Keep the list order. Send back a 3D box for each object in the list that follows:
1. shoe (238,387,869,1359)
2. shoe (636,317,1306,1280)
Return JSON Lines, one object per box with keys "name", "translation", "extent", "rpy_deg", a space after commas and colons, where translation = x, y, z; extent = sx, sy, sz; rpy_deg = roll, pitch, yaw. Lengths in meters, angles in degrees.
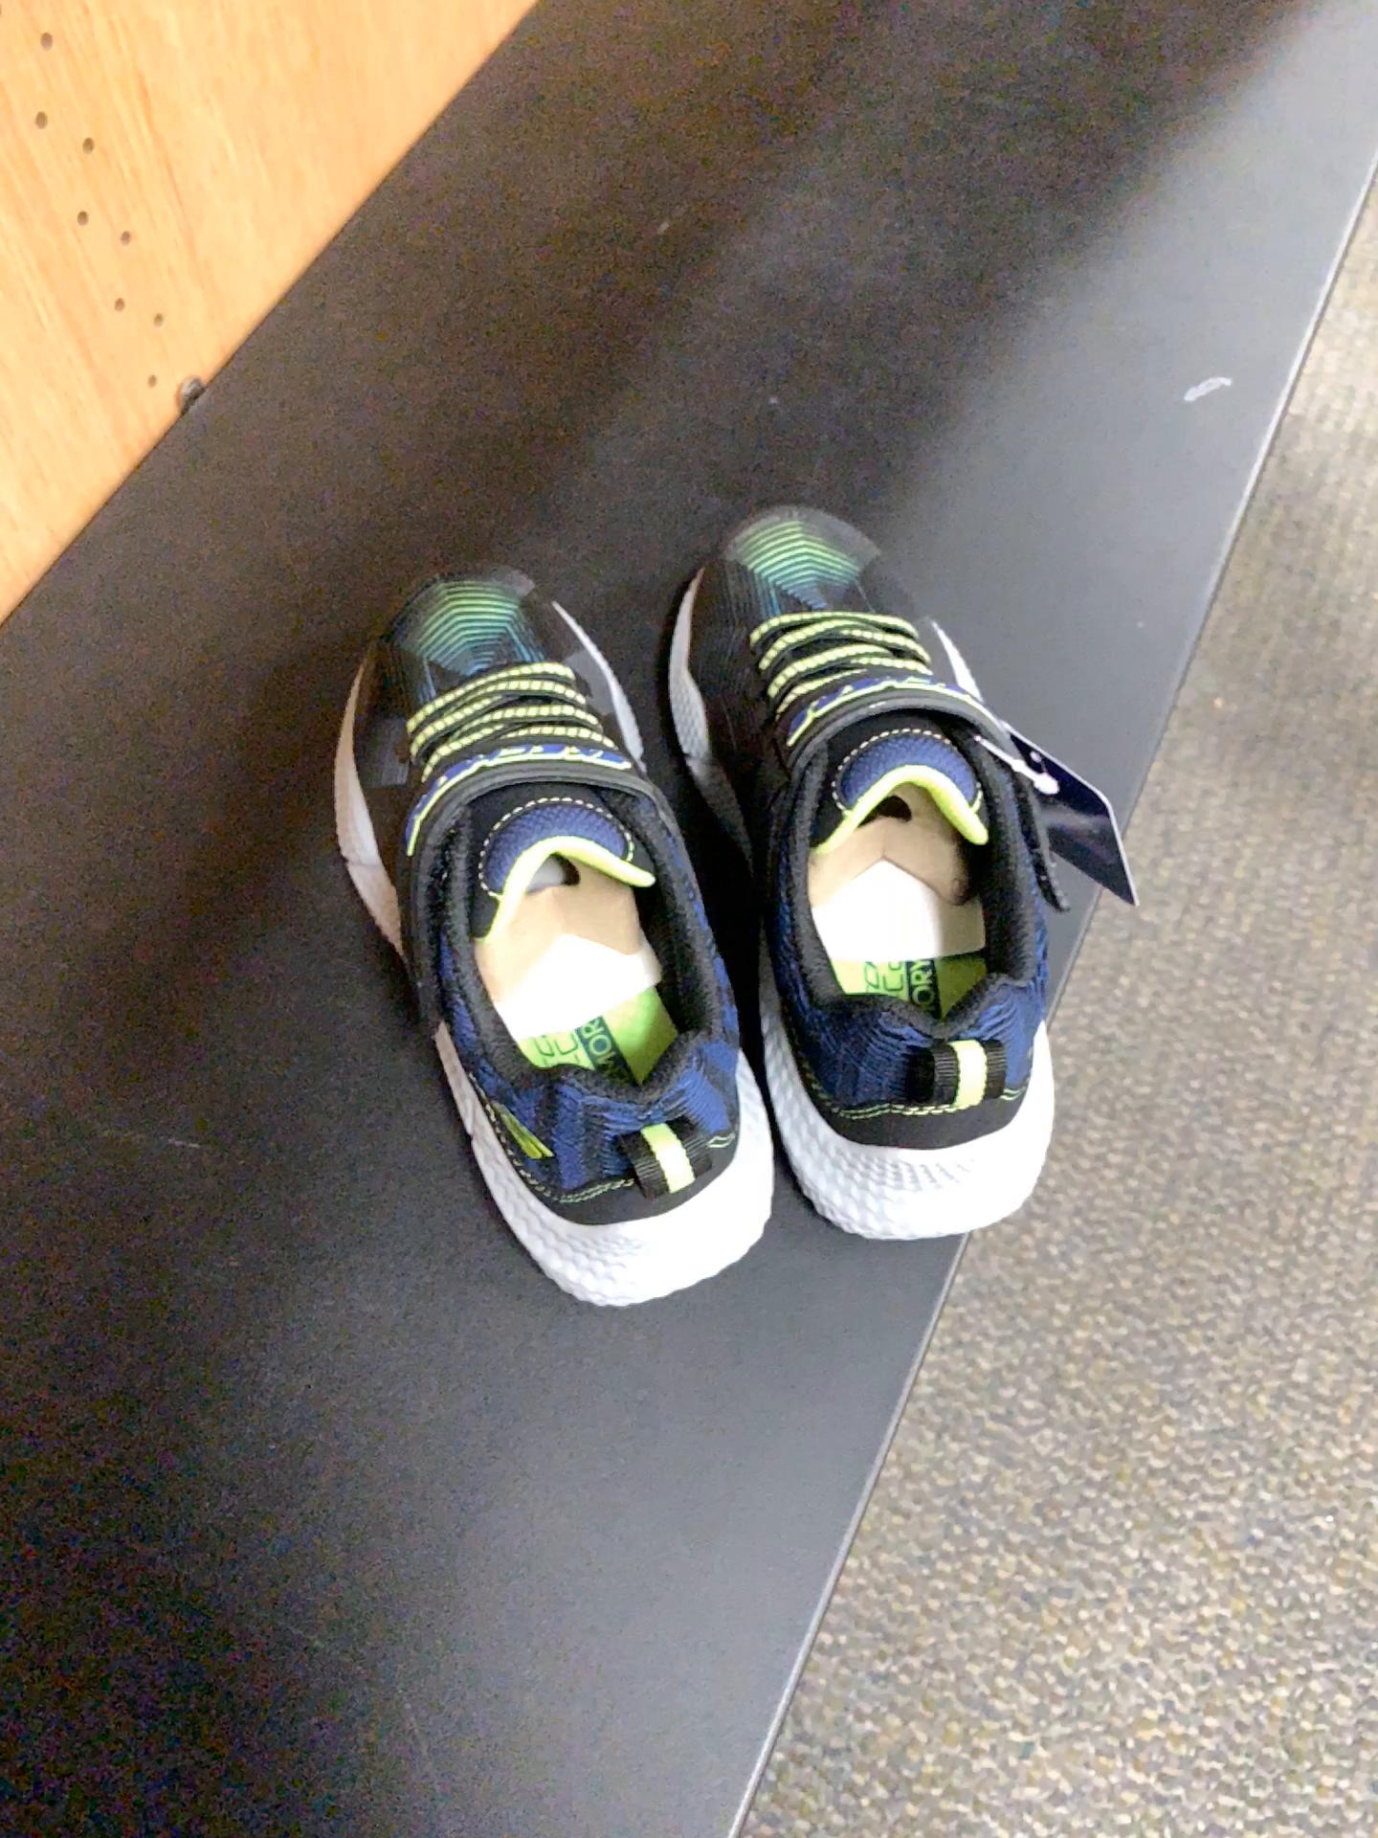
{"name": "shoe", "translation": [-0.040, -0.015, 0.377], "extent": [0.092, 0.100, 0.220], "rpy_deg": [-16, 65, -8]}
{"name": "shoe", "translation": [0.055, -0.034, 0.376], "extent": [0.098, 0.100, 0.220], "rpy_deg": [-10, 64, -5]}
